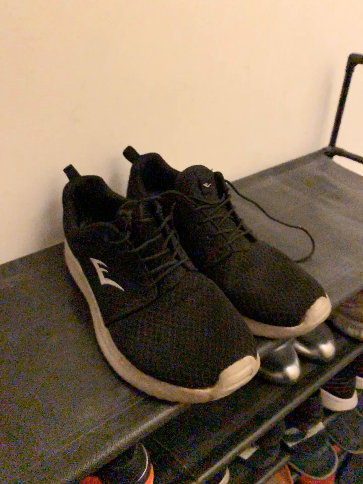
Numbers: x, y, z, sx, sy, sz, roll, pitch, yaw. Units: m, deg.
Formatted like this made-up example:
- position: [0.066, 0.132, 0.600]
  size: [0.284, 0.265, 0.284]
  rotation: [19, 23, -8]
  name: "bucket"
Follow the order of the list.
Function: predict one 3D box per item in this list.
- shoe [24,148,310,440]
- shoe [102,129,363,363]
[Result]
- position: [-0.041, 0.012, 0.369]
  size: [0.110, 0.099, 0.302]
  rotation: [-22, 40, -28]
  name: "shoe"
- position: [0.041, -0.027, 0.422]
  size: [0.120, 0.099, 0.302]
  rotation: [-23, 40, -29]
  name: "shoe"
